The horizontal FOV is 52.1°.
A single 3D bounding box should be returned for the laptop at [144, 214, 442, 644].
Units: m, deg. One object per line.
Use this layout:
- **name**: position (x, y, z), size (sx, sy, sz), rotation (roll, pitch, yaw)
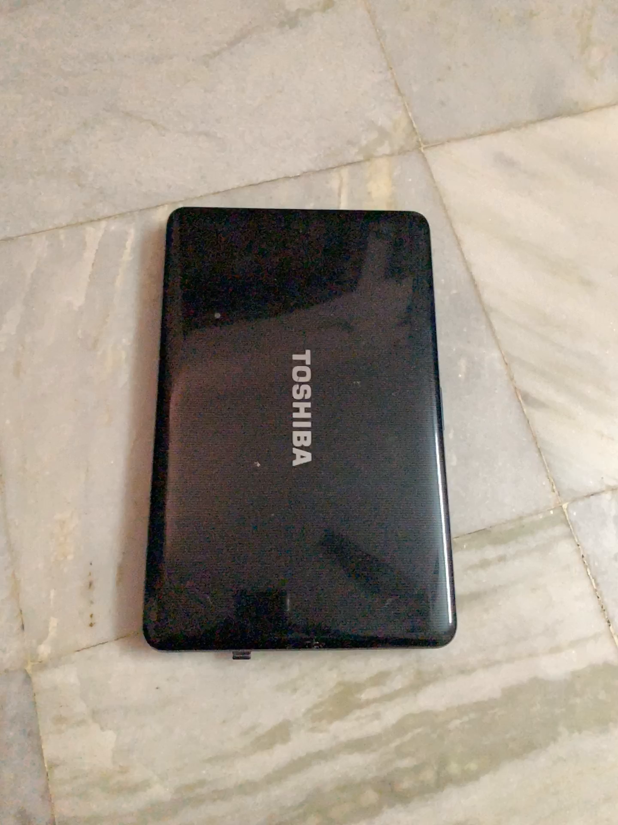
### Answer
- **laptop**: position (-0.012, -0.002, 0.518), size (0.222, 0.003, 0.355), rotation (0, 75, -4)
